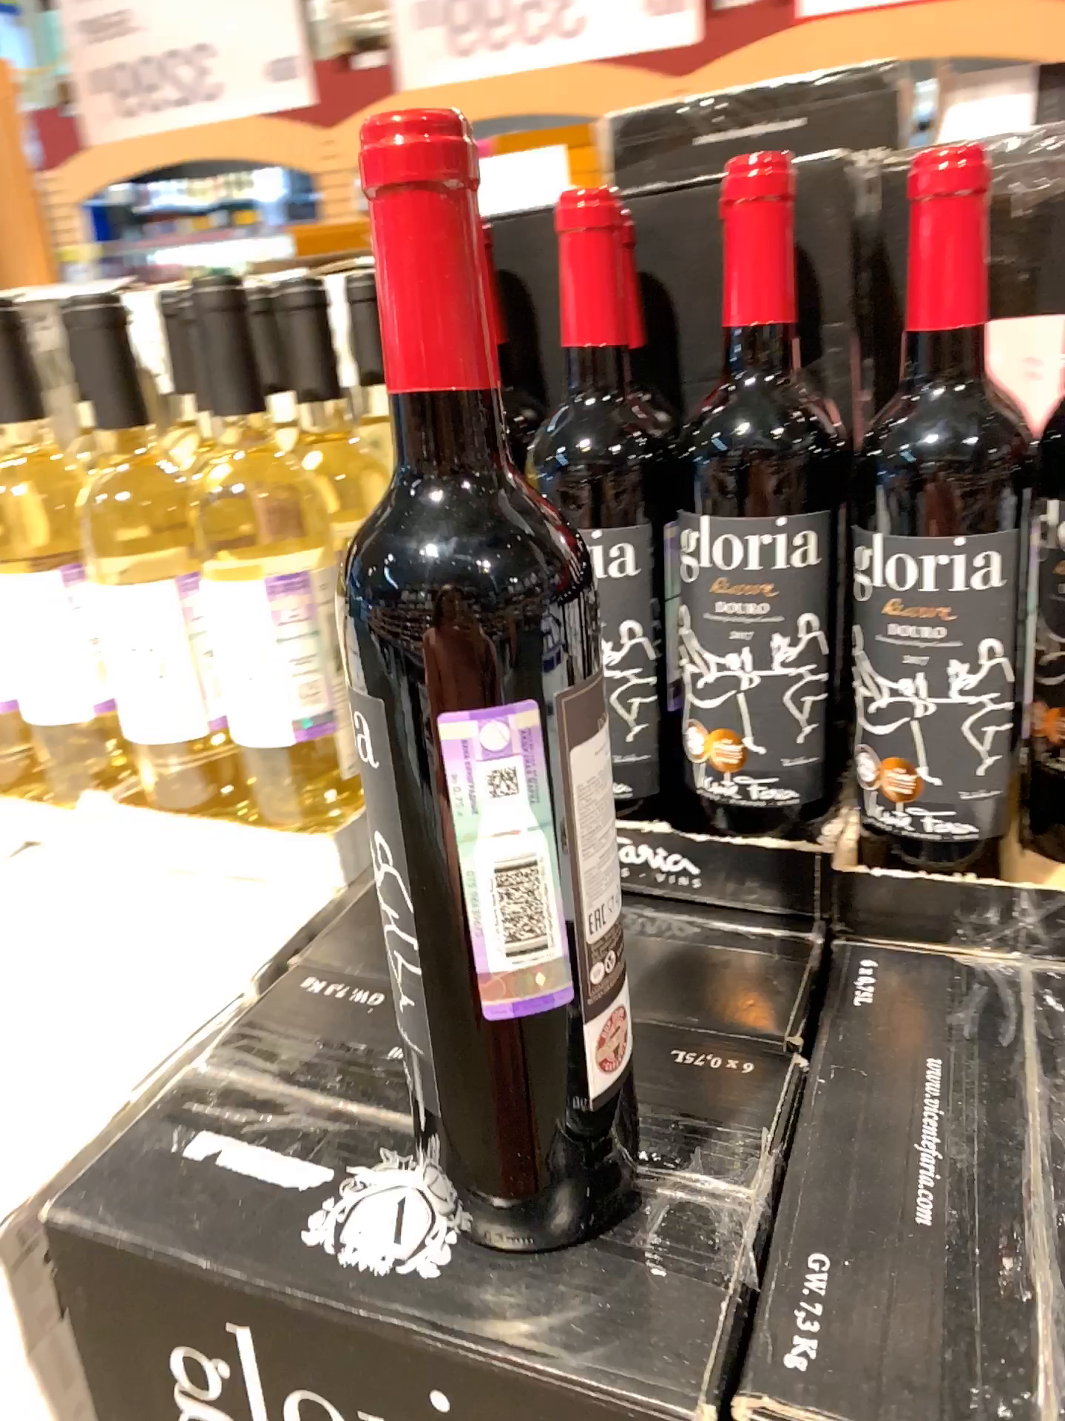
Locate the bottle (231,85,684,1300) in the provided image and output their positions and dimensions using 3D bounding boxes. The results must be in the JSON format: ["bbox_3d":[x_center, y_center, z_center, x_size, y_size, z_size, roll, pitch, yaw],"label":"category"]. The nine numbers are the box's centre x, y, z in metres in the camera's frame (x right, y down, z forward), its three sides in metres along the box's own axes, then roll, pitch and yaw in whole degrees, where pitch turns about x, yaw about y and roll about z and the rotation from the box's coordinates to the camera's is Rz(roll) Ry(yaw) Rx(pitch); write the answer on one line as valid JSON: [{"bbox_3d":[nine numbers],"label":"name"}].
[{"bbox_3d":[-0.003,0.010,0.320,0.080,0.319,0.090,0,21,12],"label":"bottle"}]
